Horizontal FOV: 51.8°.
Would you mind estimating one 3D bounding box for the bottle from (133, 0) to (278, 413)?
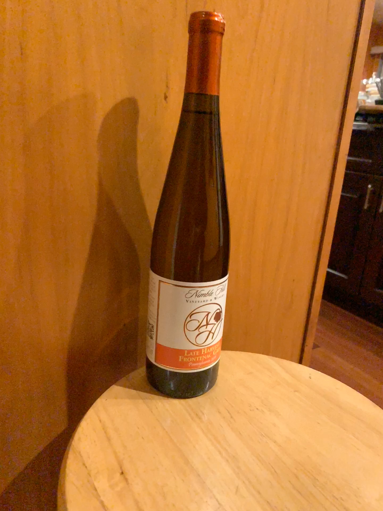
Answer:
[{"bbox_3d":[0.003,-0.031,0.345,0.080,0.329,0.060,-8,21,-33],"label":"bottle"}]
